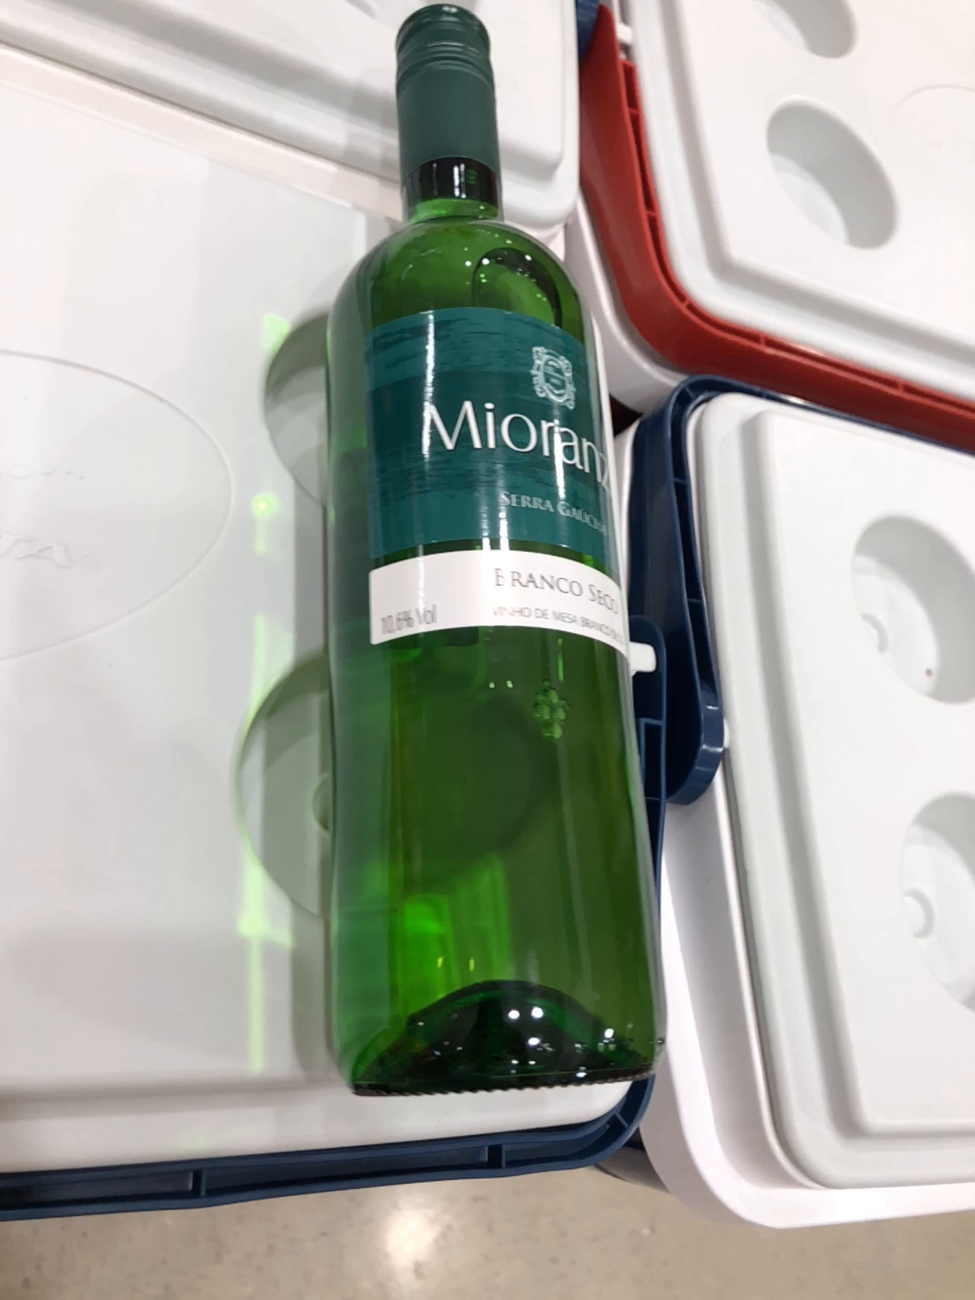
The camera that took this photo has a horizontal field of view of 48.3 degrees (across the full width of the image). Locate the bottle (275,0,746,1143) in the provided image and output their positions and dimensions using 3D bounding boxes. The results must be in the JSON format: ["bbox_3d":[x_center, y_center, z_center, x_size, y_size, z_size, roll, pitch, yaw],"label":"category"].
[{"bbox_3d":[-0.009,-0.064,0.304,0.080,0.070,0.361,7,66,-27],"label":"bottle"}]
